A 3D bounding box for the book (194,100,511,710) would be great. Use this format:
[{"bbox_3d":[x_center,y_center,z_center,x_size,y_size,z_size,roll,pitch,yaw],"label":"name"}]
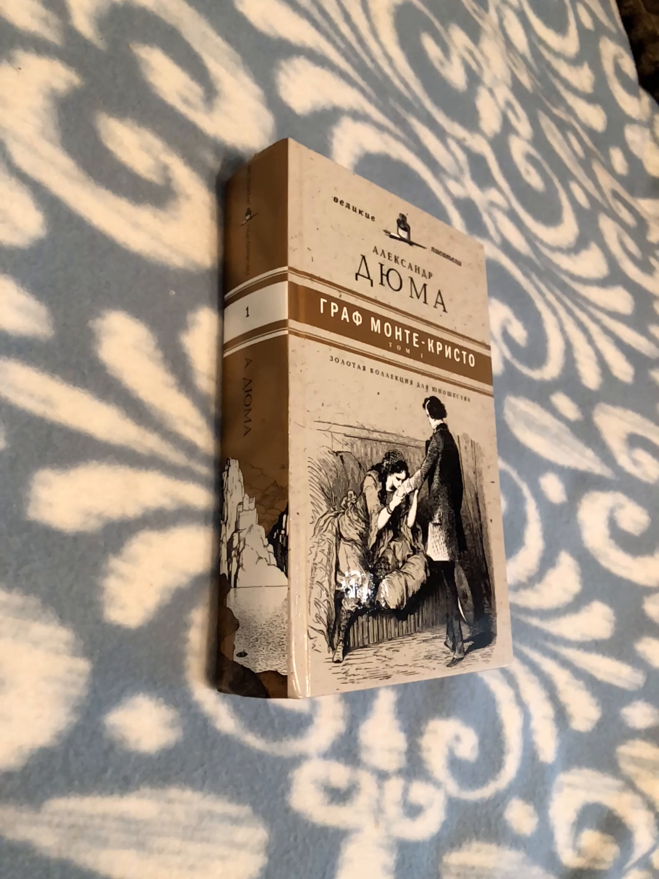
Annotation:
[{"bbox_3d":[0.013,-0.009,0.308,0.139,0.040,0.212,10,73,-44],"label":"book"}]
